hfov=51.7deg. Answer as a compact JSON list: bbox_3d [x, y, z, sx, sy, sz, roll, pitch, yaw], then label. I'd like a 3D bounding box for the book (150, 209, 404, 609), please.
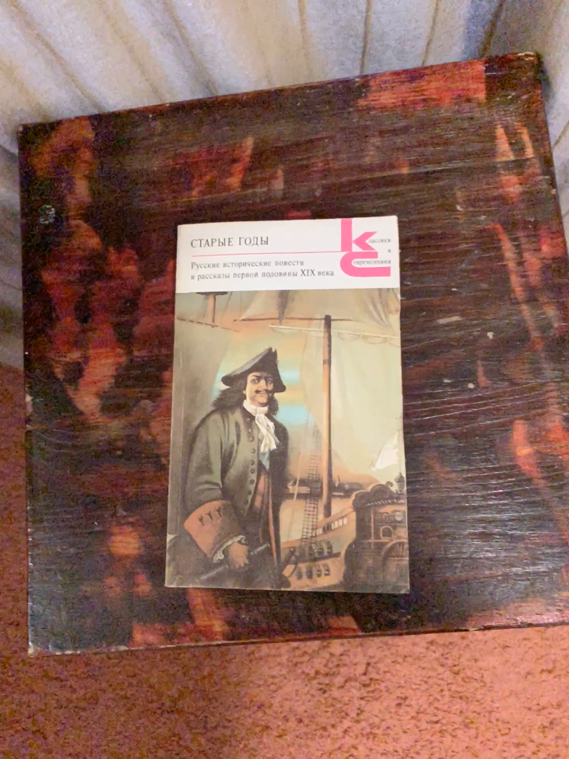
[{"bbox_3d":[-0.004,0.013,0.309,0.123,0.026,0.197,-1,82,7],"label":"book"}]
